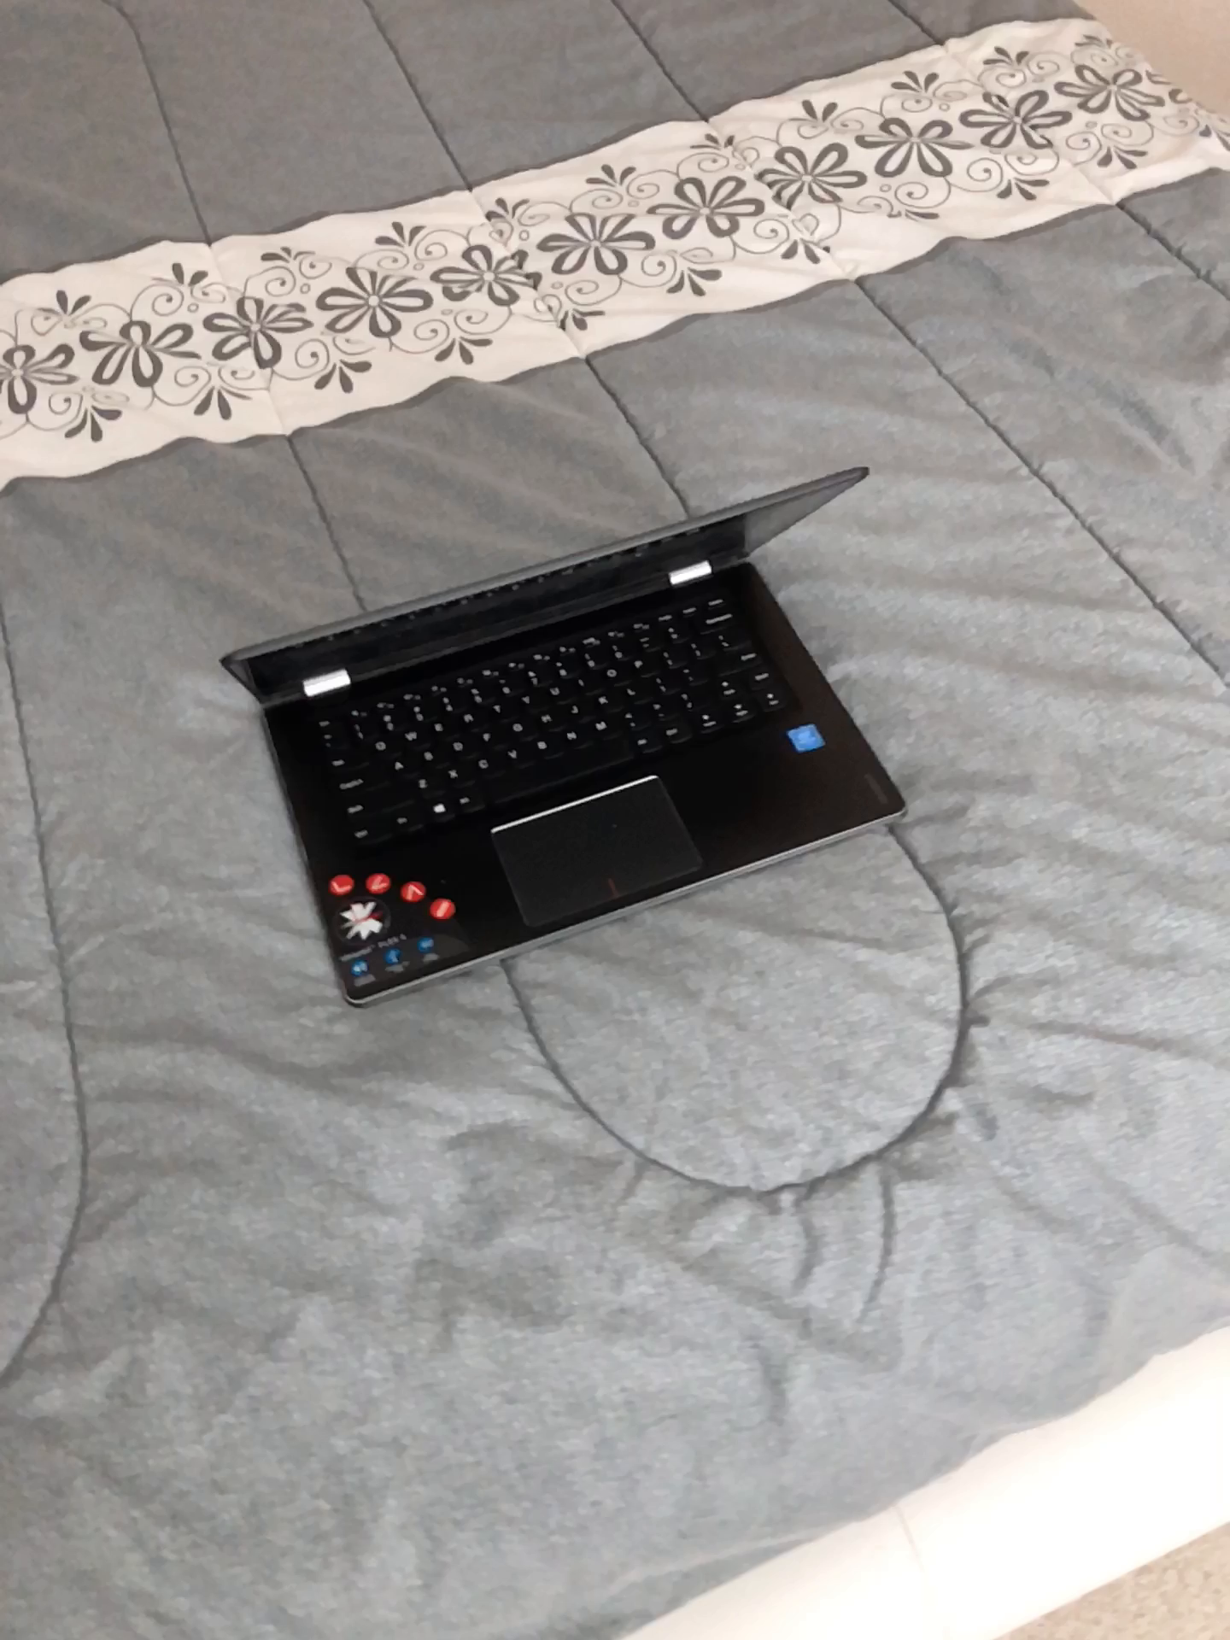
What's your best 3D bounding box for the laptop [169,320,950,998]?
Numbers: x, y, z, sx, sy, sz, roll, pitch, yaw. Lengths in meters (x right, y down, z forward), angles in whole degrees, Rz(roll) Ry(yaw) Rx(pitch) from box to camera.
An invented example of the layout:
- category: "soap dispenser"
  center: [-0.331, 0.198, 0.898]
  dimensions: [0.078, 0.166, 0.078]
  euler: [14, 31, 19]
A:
- category: "laptop"
  center: [-0.031, -0.086, 0.689]
  dimensions: [0.304, 0.167, 0.215]
  euler: [-18, 55, -10]
